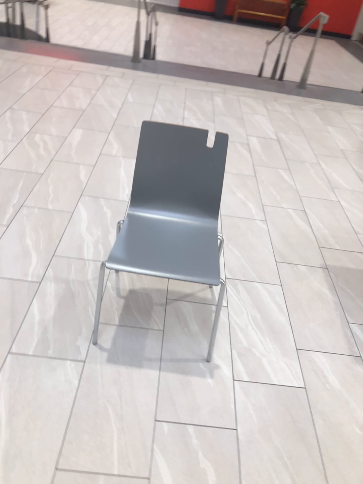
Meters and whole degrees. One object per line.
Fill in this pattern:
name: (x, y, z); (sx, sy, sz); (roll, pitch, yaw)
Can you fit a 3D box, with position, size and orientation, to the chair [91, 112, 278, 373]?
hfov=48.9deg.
chair: (-0.024, 0.012, 1.547); (0.524, 0.787, 0.518); (9, 37, -1)
